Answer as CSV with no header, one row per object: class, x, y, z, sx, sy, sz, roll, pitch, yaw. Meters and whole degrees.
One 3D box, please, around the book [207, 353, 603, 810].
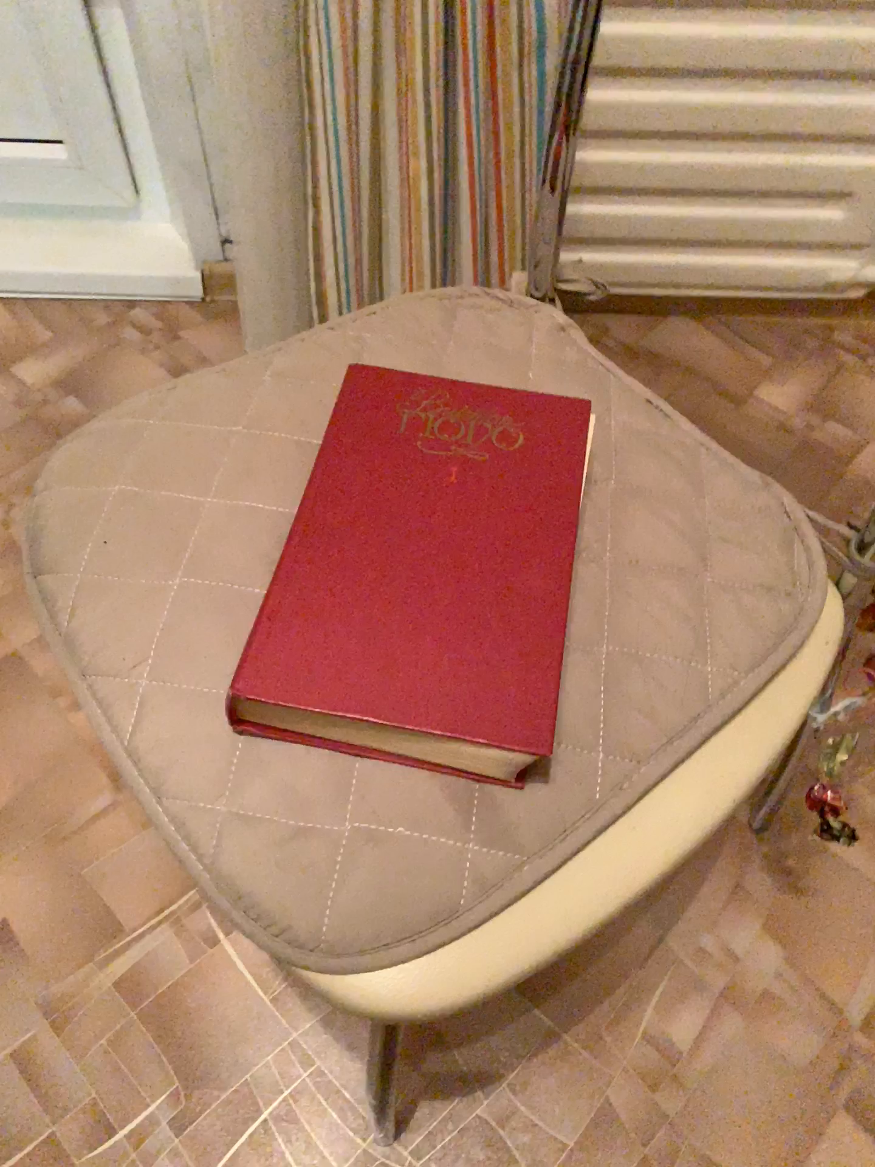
book,-0.004,-0.011,0.430,0.140,0.060,0.201,10,55,5
